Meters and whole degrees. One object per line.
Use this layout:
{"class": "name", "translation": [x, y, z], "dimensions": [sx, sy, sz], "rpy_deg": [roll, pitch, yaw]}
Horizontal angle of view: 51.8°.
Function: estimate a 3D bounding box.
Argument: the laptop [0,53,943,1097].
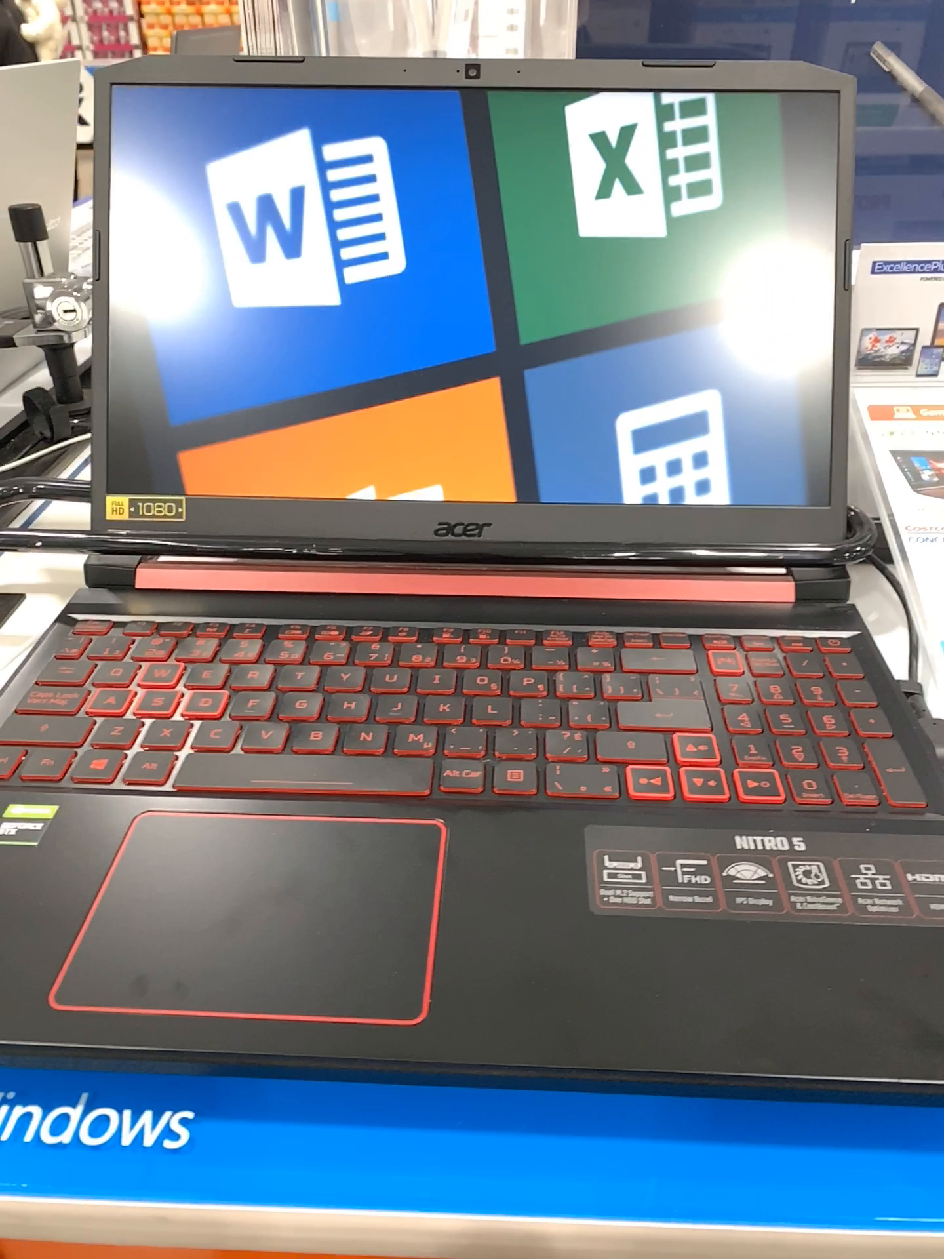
{"class": "laptop", "translation": [-0.014, -0.084, 0.363], "dimensions": [0.358, 0.198, 0.381], "rpy_deg": [2, 34, 3]}
